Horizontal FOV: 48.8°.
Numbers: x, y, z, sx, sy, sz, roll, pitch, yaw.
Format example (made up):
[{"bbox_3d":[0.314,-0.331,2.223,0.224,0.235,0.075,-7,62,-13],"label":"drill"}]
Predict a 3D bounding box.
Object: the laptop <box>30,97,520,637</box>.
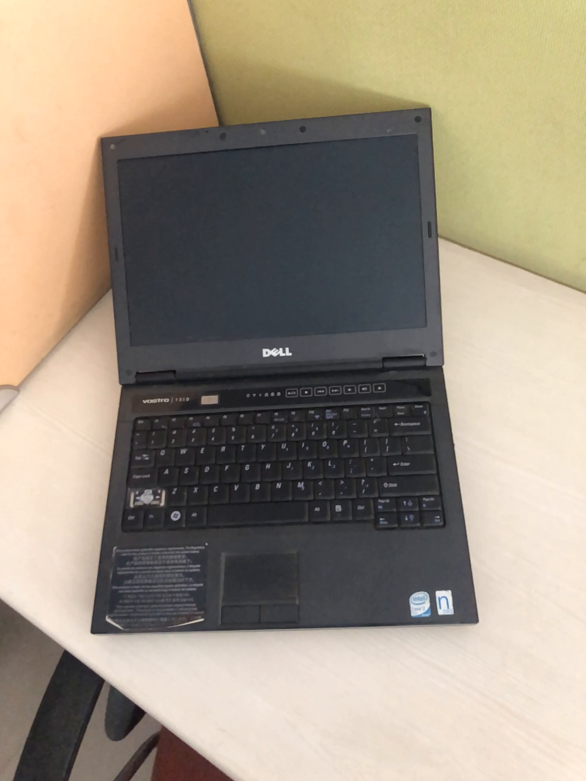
[{"bbox_3d":[-0.011,-0.034,0.554,0.305,0.125,0.431,-4,62,5],"label":"laptop"}]
